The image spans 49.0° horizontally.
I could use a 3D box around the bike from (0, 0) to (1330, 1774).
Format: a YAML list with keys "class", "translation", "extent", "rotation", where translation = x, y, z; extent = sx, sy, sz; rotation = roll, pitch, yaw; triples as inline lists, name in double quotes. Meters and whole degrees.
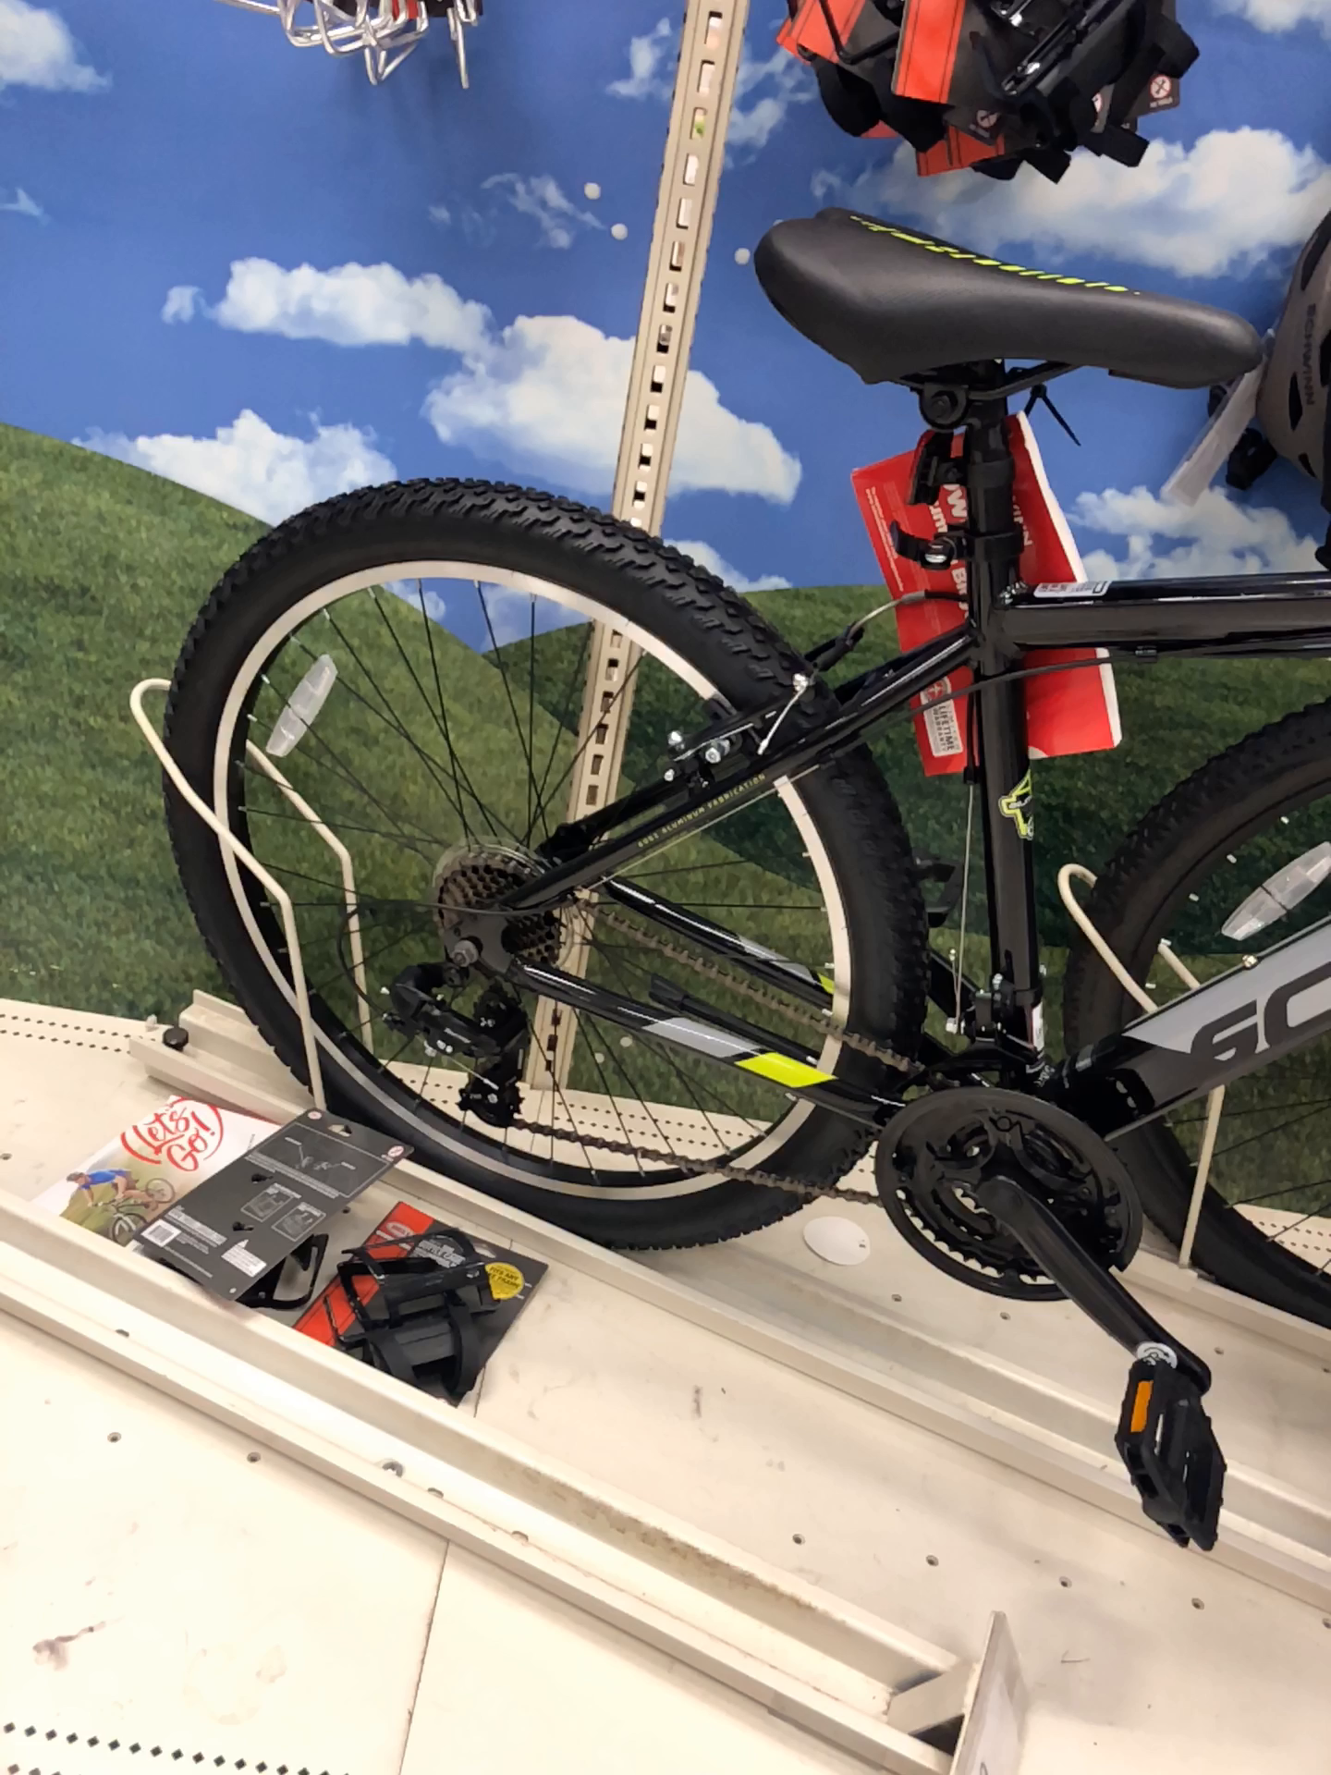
- class: "bike"
  translation: [0.309, 0.109, 0.826]
  extent: [1.652, 1.002, 0.601]
  rotation: [22, 28, 17]
